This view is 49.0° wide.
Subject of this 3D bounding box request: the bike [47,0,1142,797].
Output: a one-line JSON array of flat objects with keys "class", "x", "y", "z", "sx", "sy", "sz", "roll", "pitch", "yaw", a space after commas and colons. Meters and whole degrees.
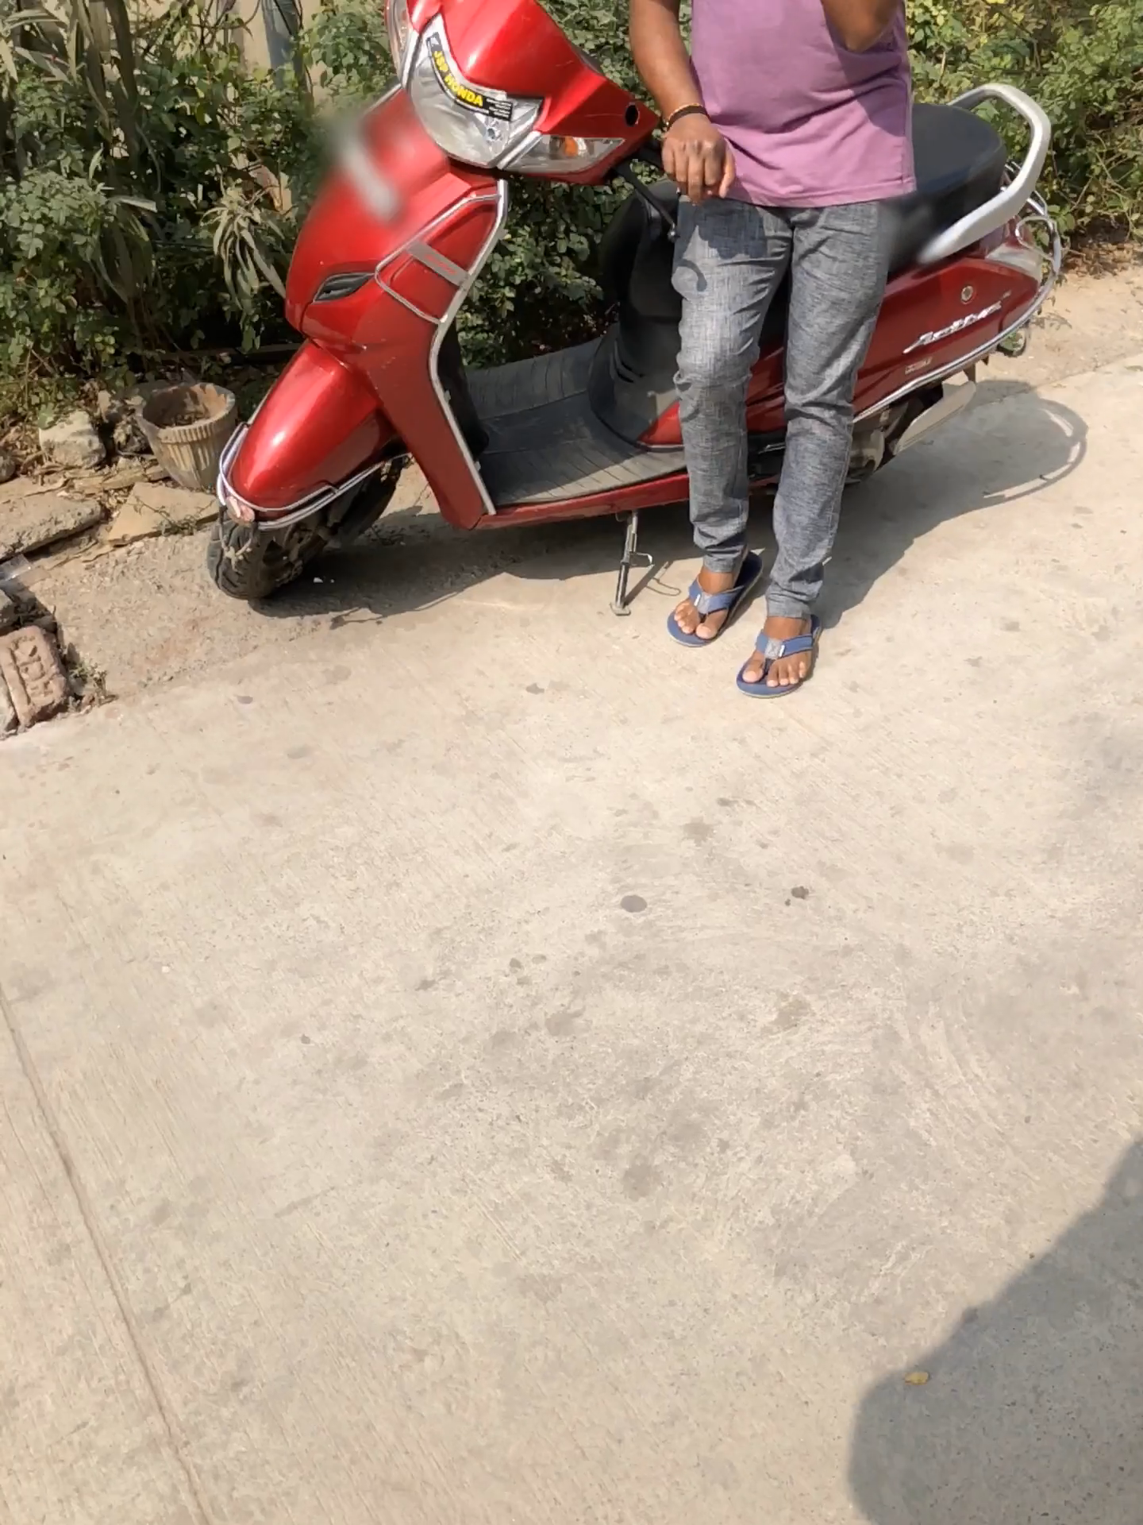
[{"class": "bike", "x": 0.100, "y": -0.788, "z": 2.224, "sx": 1.586, "sy": 1.157, "sz": 0.624, "roll": -17, "pitch": 41, "yaw": -17}]
